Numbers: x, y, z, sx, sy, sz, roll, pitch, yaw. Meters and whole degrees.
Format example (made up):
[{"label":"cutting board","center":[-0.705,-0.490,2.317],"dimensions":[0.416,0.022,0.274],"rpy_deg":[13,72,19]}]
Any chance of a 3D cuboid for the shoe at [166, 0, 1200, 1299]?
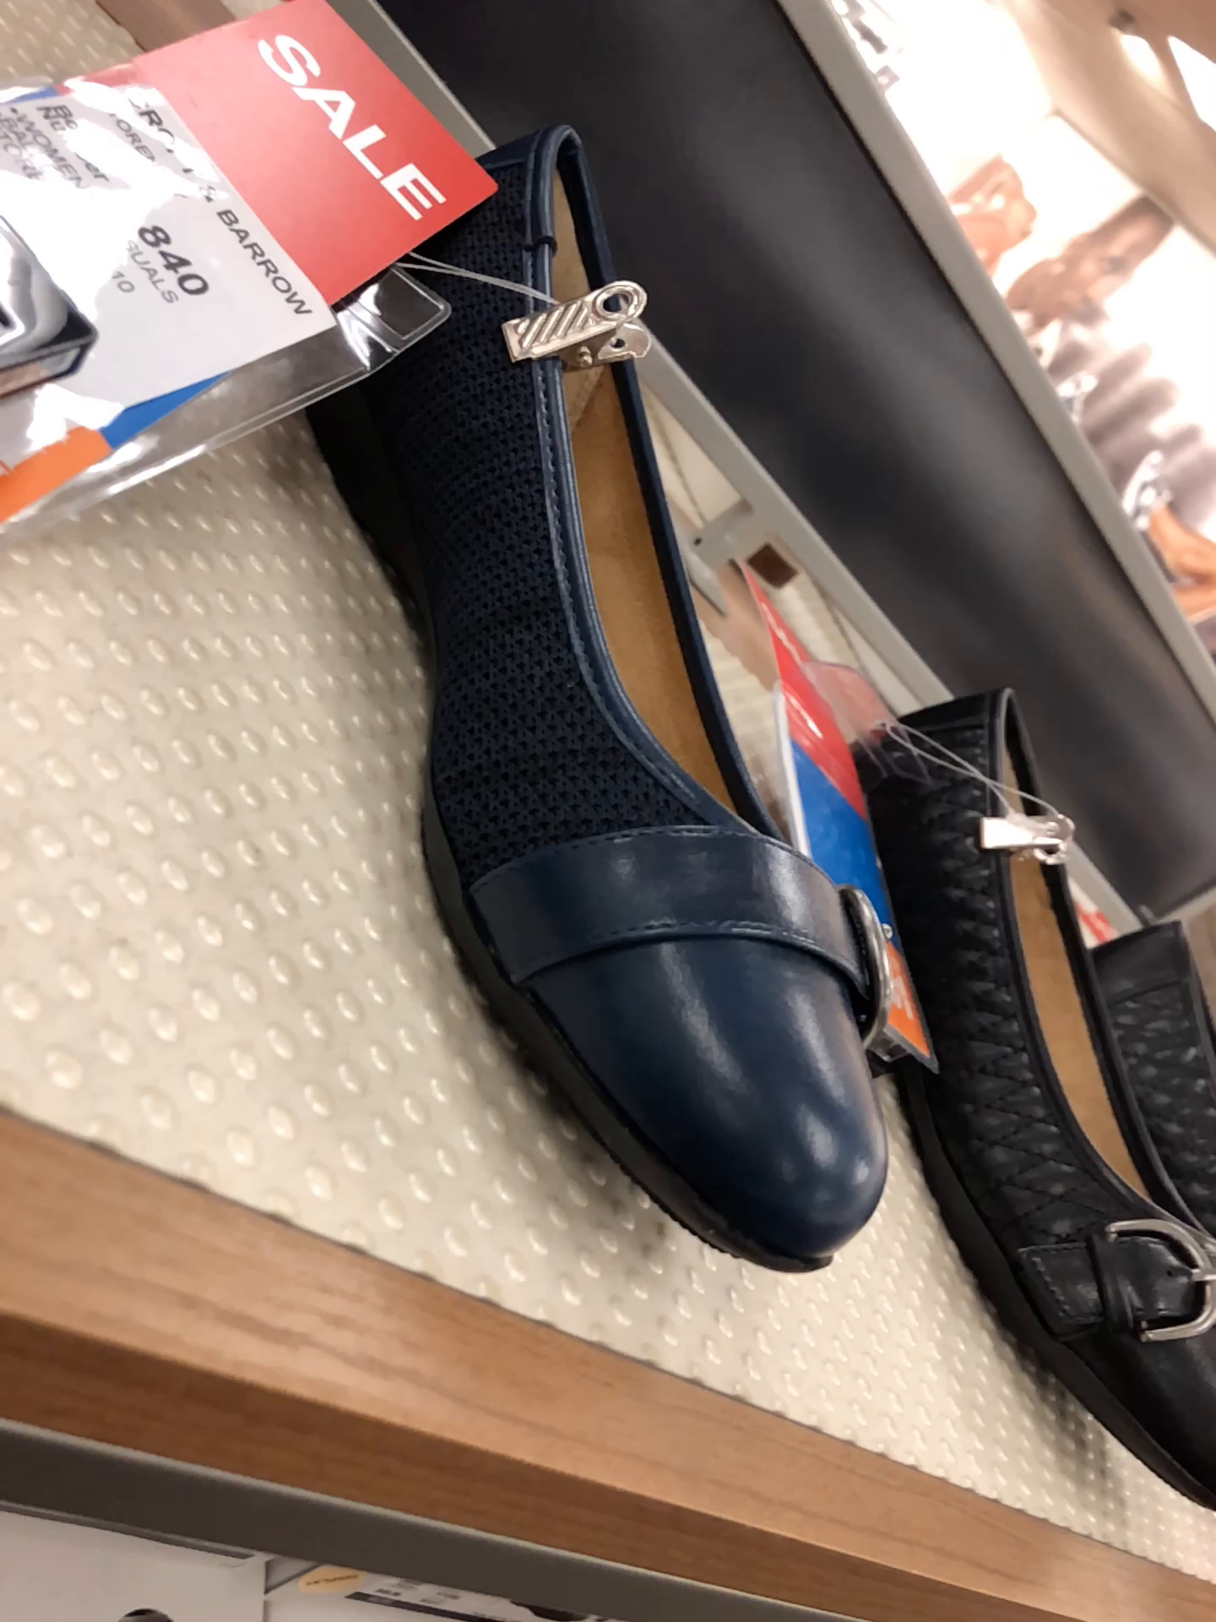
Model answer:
[{"label":"shoe","center":[0.000,-0.056,0.277],"dimensions":[0.088,0.081,0.279],"rpy_deg":[25,37,-55]}]
